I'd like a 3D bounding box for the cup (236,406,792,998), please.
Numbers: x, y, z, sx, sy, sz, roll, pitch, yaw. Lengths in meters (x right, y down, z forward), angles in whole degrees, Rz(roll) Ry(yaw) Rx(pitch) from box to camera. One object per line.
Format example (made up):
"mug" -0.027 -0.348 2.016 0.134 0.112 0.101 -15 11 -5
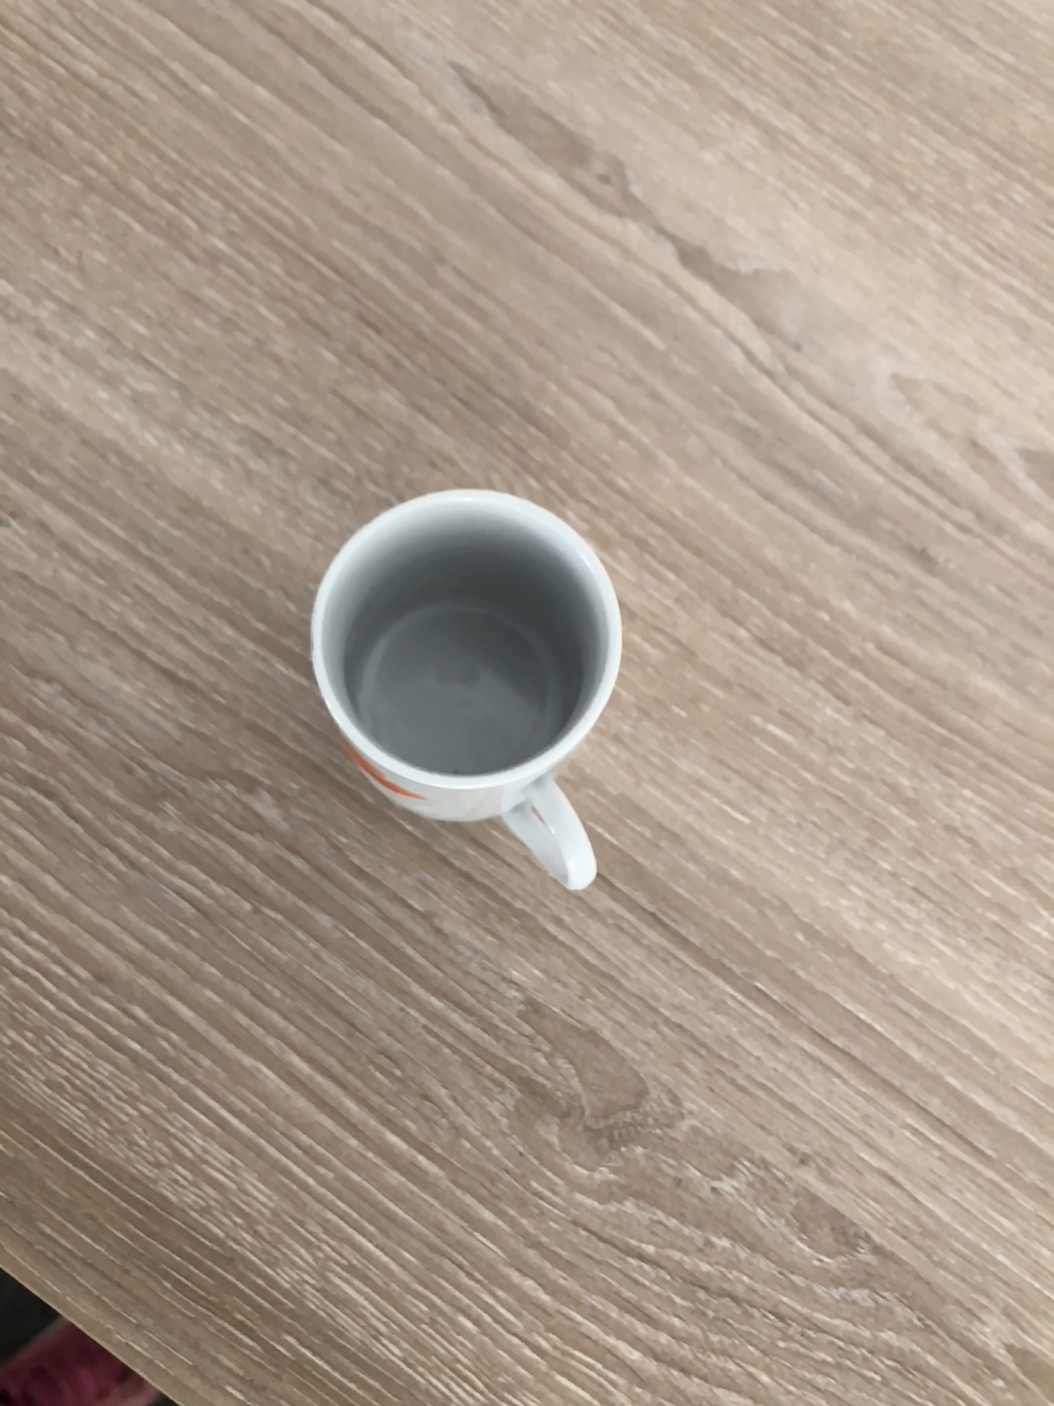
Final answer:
"cup" -0.005 0.003 0.221 0.060 0.060 0.080 -27 81 -10
